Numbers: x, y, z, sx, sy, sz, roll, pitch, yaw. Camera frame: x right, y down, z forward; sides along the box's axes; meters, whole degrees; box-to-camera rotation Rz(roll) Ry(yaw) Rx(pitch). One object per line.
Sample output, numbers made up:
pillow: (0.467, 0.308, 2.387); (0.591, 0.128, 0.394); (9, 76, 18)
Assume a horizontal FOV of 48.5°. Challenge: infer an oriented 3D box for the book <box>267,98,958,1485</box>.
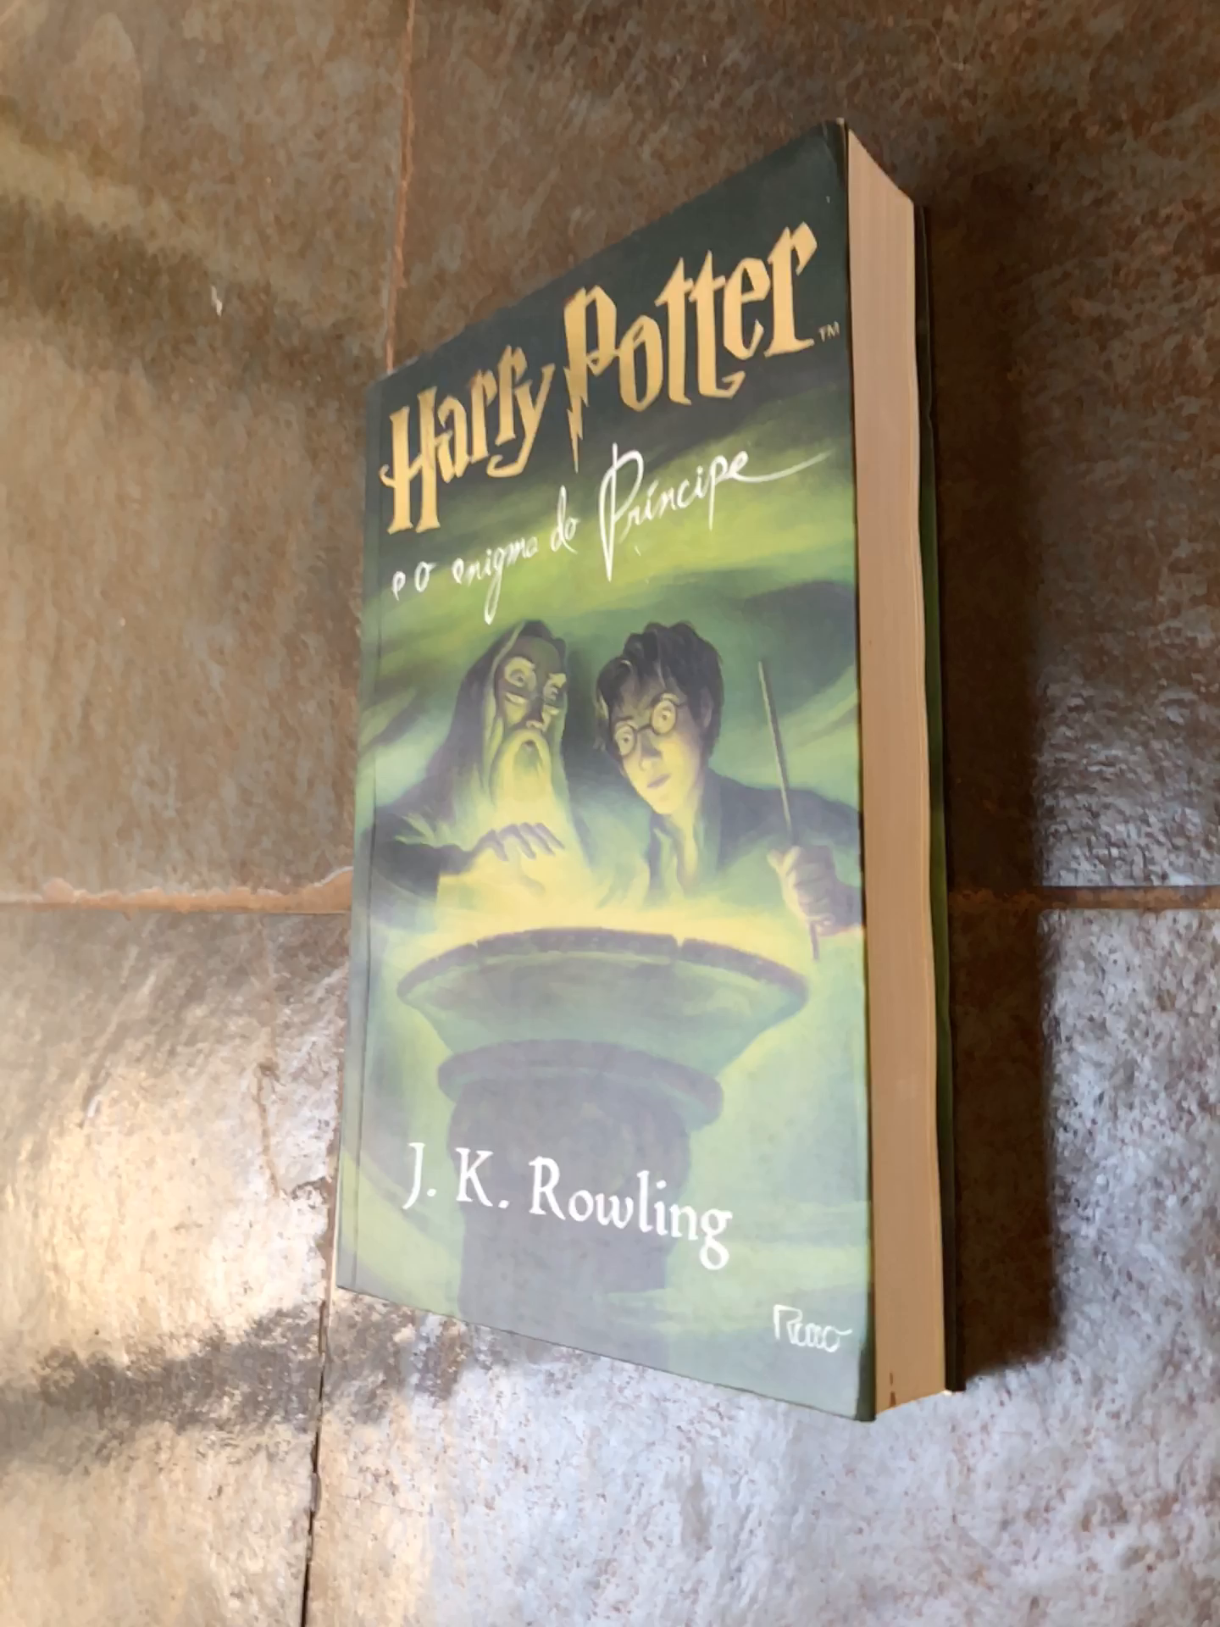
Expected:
book: (-0.009, -0.002, 0.254); (0.143, 0.030, 0.200); (-7, 79, 44)
